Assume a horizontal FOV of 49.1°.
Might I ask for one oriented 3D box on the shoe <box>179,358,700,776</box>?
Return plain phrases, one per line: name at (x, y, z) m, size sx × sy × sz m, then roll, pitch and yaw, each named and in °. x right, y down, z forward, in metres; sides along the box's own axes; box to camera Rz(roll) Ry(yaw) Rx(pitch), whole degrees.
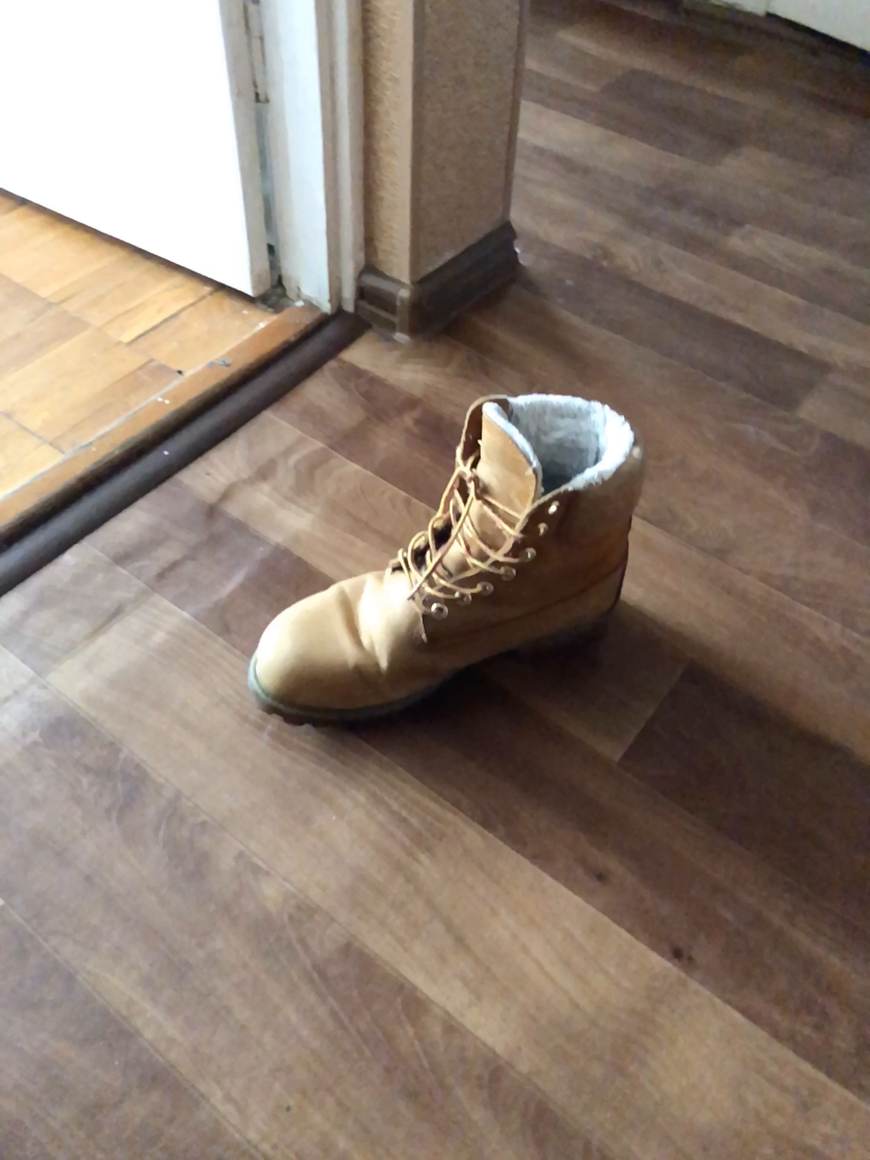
shoe at (0.001, -0.011, 0.641) m, size 0.290 × 0.179 × 0.121 m, roll -17°, pitch 52°, yaw -16°
